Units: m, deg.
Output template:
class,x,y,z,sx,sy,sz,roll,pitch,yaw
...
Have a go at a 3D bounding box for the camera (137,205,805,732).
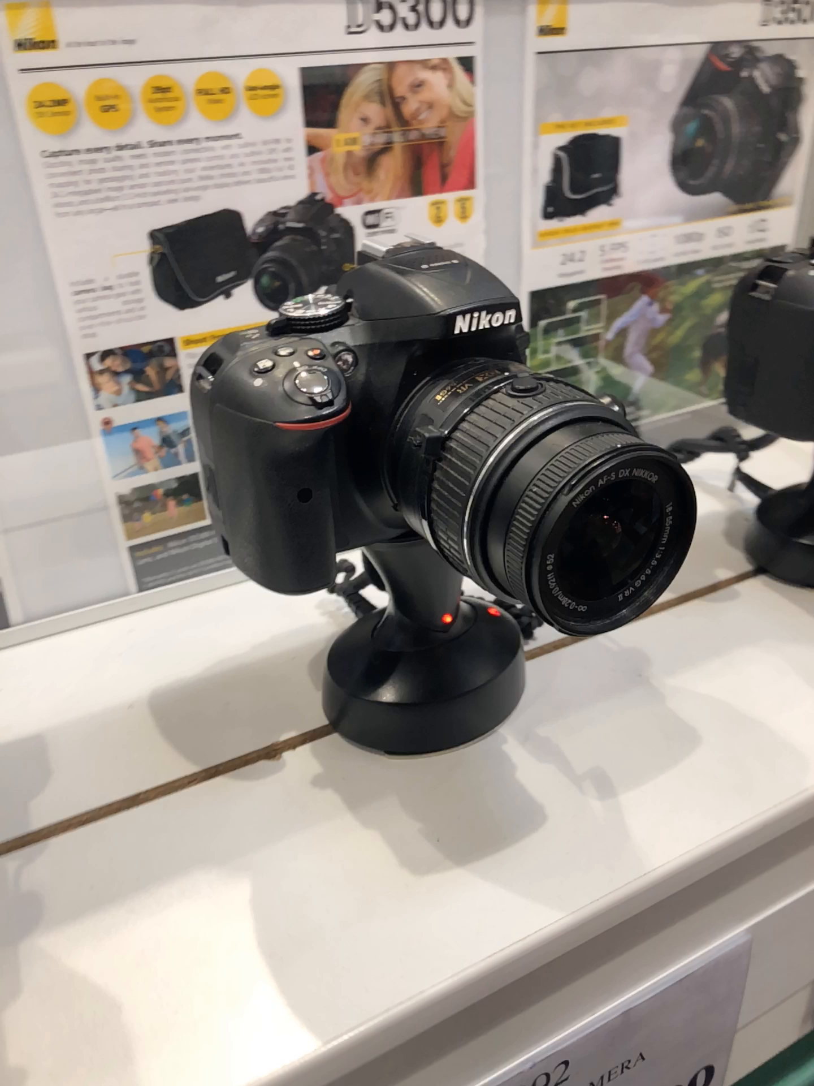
class,x,y,z,sx,sy,sz,roll,pitch,yaw
camera,0.008,-0.042,0.280,0.130,0.089,0.151,-17,32,-26
